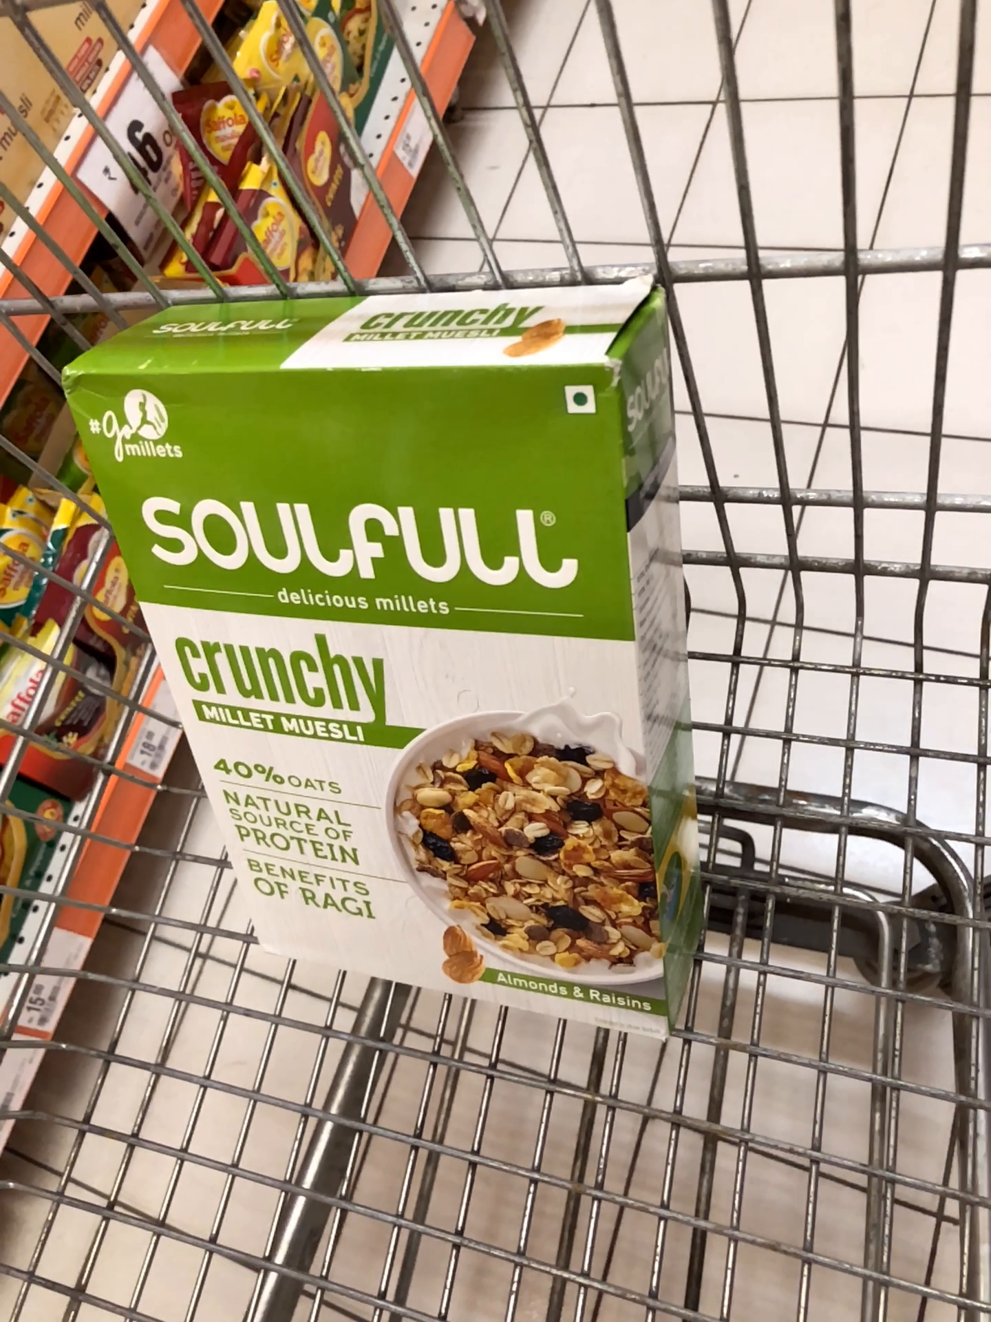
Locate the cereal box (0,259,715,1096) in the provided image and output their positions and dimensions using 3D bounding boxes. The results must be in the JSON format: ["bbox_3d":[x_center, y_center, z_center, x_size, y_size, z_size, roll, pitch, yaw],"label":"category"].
[{"bbox_3d":[-0.026,0.011,0.344,0.170,0.239,0.070,5,34,22],"label":"cereal box"}]
